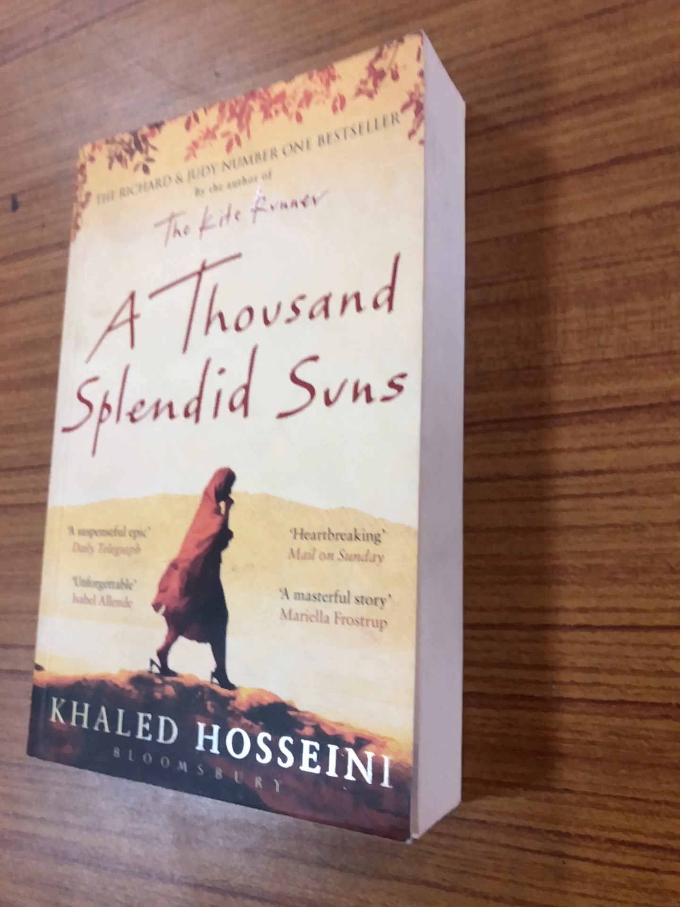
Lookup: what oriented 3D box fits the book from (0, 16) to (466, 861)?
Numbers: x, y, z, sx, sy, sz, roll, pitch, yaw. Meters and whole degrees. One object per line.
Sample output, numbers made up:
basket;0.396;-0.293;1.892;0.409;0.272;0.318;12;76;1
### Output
book;-0.037;-0.005;0.216;0.140;0.030;0.190;-3;82;28
